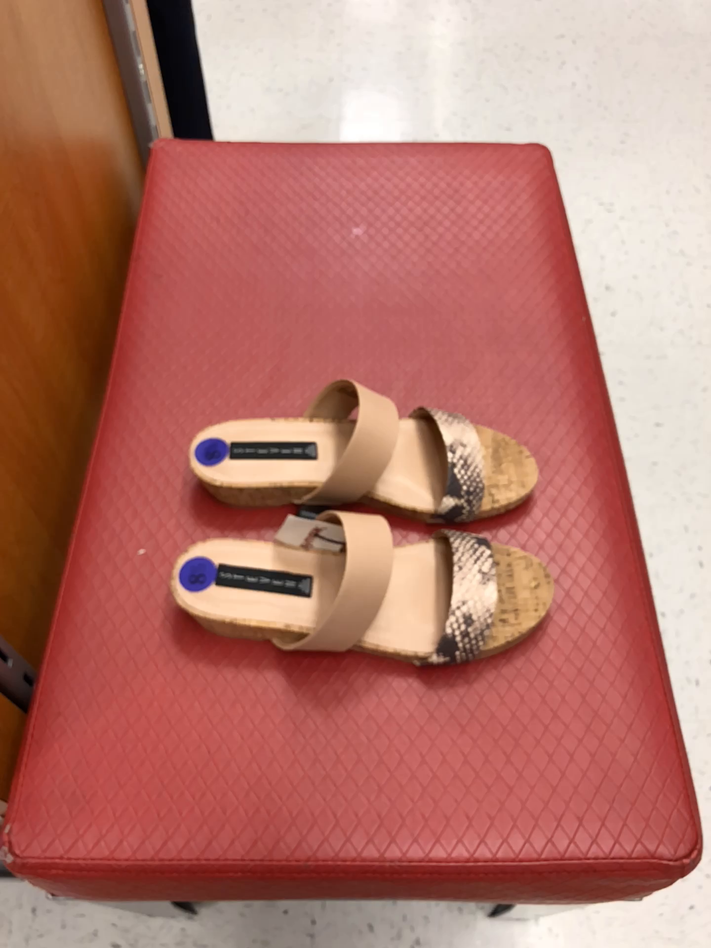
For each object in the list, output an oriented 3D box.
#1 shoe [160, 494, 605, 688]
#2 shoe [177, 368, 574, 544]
[{"bbox_3d":[0.015,0.078,0.519,0.257,0.085,0.095,-1,57,-1],"label":"shoe"},{"bbox_3d":[0.013,-0.012,0.575,0.257,0.085,0.096,0,57,0],"label":"shoe"}]
